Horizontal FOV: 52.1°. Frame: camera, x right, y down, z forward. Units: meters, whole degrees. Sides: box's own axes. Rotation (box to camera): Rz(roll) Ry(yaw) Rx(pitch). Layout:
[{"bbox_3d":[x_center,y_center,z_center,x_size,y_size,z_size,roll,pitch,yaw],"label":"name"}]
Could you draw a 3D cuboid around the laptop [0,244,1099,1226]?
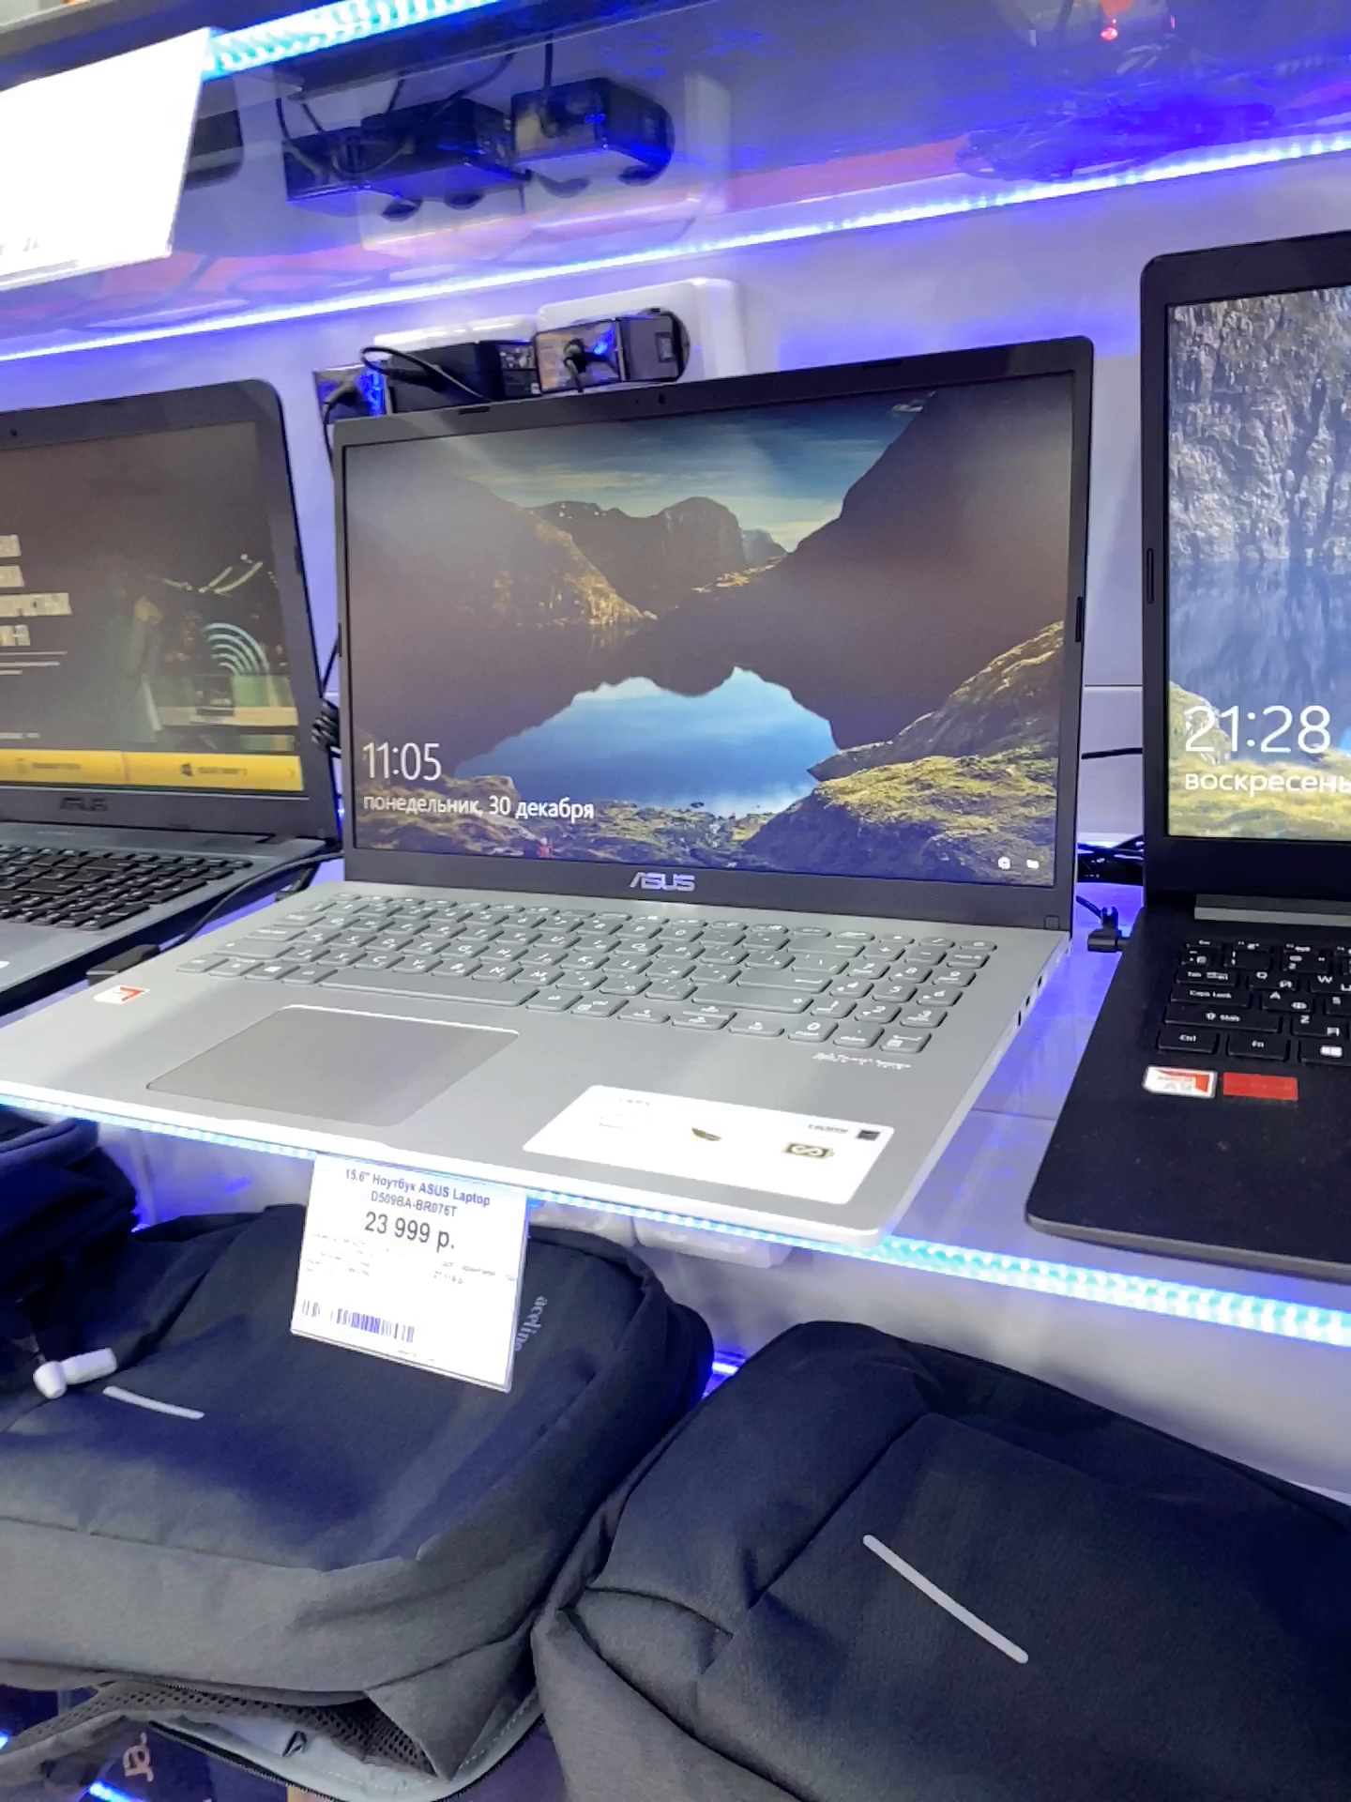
[{"bbox_3d":[-0.059,-0.075,0.504,0.361,0.216,0.286,3,18,27],"label":"laptop"}]
